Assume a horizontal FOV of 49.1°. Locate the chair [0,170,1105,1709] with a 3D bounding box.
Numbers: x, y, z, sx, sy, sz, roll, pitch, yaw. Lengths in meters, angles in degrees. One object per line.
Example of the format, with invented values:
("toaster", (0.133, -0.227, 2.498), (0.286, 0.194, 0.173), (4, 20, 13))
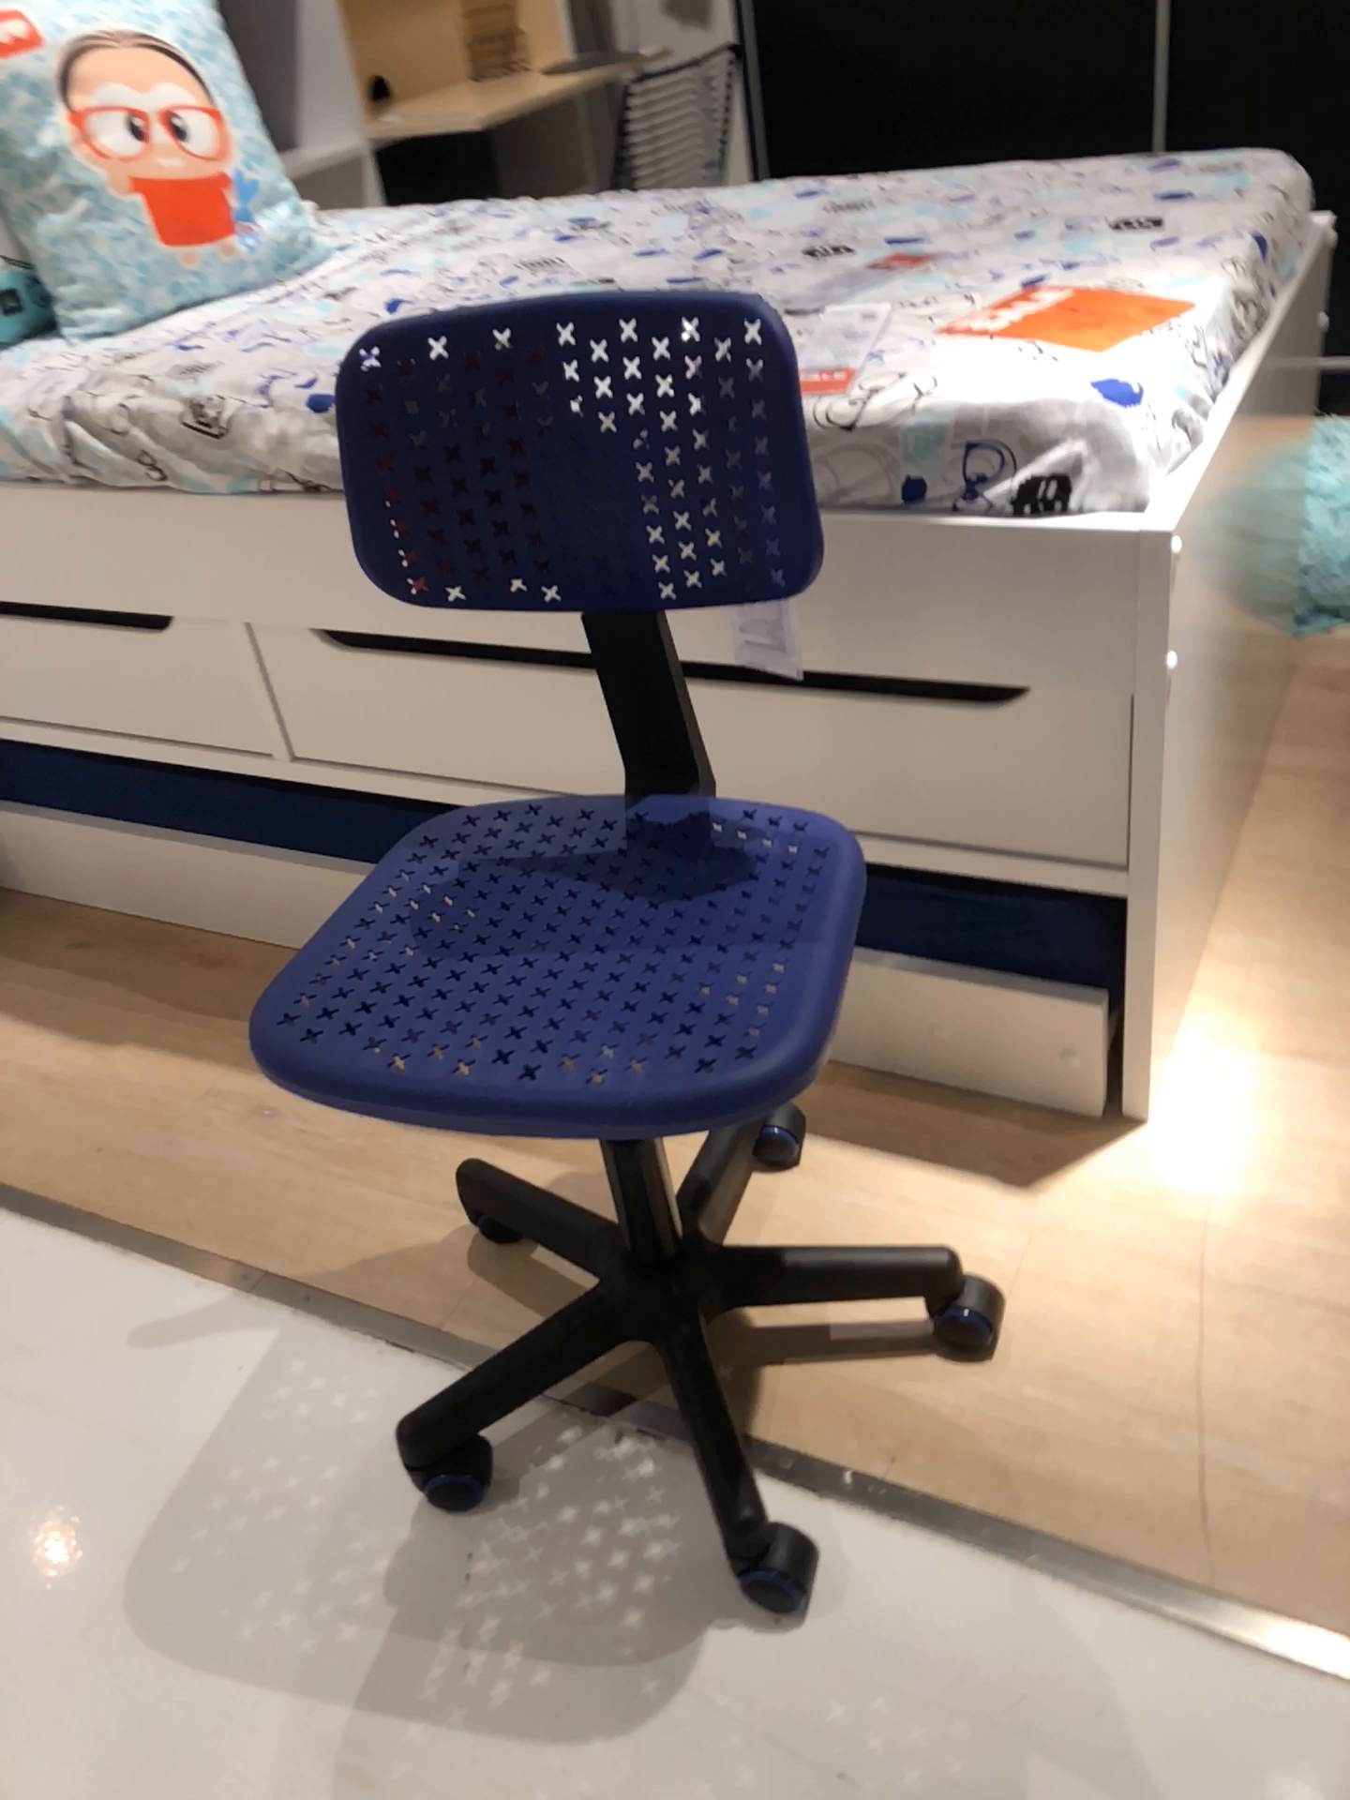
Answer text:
("chair", (-0.030, 0.013, 1.032), (0.551, 0.813, 0.524), (6, 37, 23))
